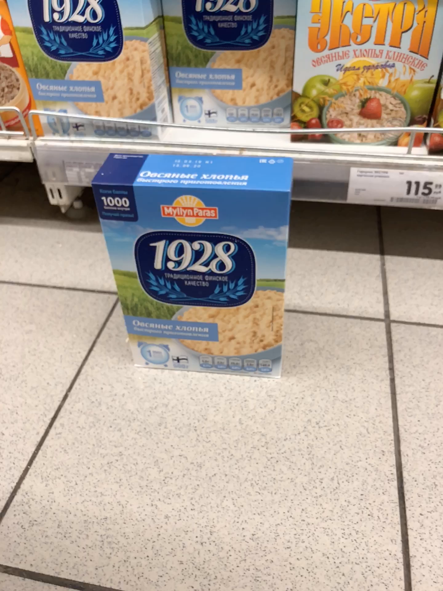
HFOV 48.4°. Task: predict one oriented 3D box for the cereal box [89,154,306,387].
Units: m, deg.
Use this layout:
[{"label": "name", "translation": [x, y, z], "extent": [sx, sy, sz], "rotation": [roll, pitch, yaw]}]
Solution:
[{"label": "cereal box", "translation": [-0.010, -0.014, 0.425], "extent": [0.150, 0.199, 0.060], "rotation": [4, 42, 8]}]
